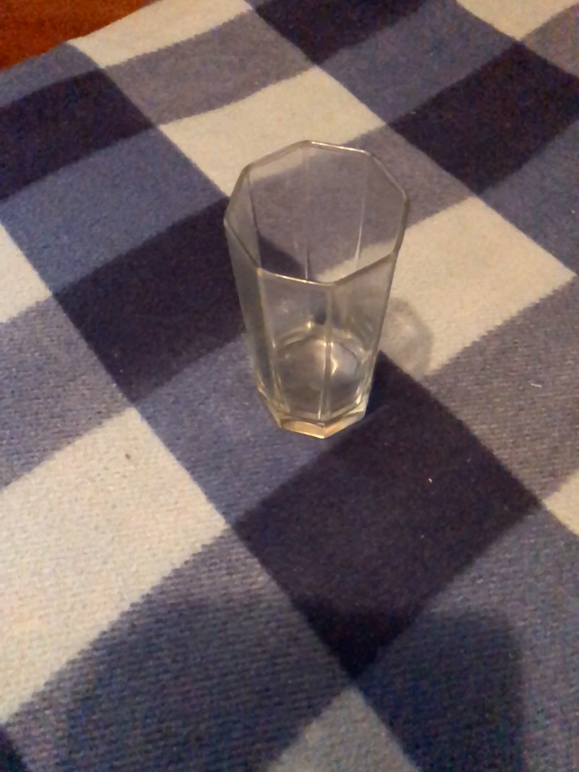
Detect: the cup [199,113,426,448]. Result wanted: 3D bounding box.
[{"bbox_3d":[0.011,-0.039,0.297,0.077,0.137,0.082,0,61,0],"label":"cup"}]
